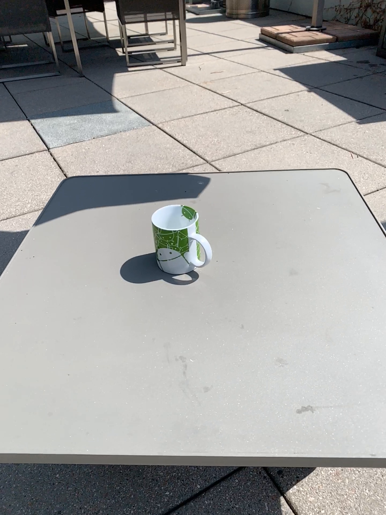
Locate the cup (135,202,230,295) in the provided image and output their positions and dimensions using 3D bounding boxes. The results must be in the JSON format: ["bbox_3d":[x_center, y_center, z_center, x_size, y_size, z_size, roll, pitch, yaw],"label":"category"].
[{"bbox_3d":[-0.014,-0.018,0.650,0.120,0.090,0.090,20,43,28],"label":"cup"}]
